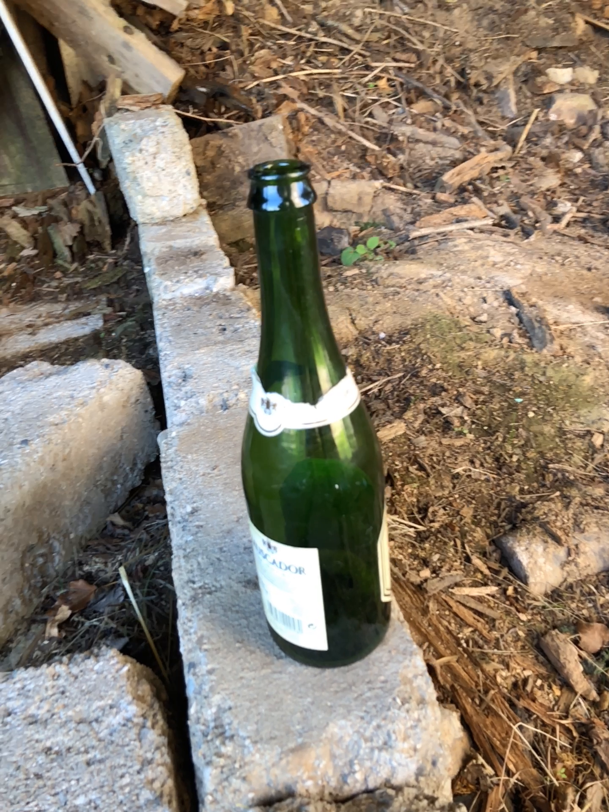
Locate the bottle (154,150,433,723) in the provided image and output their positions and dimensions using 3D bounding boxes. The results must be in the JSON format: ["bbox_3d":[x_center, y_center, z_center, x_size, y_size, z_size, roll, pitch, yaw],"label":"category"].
[{"bbox_3d":[0.002,0.021,0.365,0.090,0.288,0.090,-3,27,2],"label":"bottle"}]
